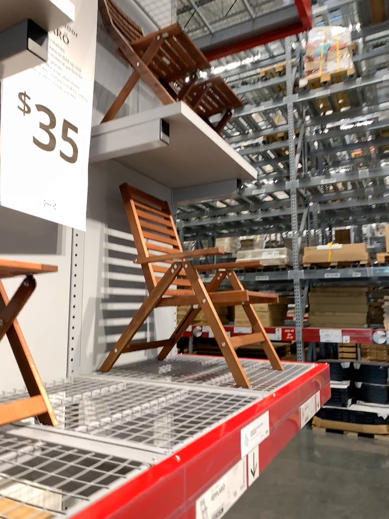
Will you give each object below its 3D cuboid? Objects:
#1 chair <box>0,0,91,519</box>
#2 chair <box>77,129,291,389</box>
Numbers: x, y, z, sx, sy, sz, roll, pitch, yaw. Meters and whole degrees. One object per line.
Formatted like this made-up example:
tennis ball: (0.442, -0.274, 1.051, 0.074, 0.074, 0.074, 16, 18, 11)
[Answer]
chair: (-0.730, -0.016, 1.000, 0.631, 0.886, 0.614, -4, -8, 26)
chair: (-0.035, 0.033, 2.061, 0.891, 1.056, 0.614, -4, -8, 26)
